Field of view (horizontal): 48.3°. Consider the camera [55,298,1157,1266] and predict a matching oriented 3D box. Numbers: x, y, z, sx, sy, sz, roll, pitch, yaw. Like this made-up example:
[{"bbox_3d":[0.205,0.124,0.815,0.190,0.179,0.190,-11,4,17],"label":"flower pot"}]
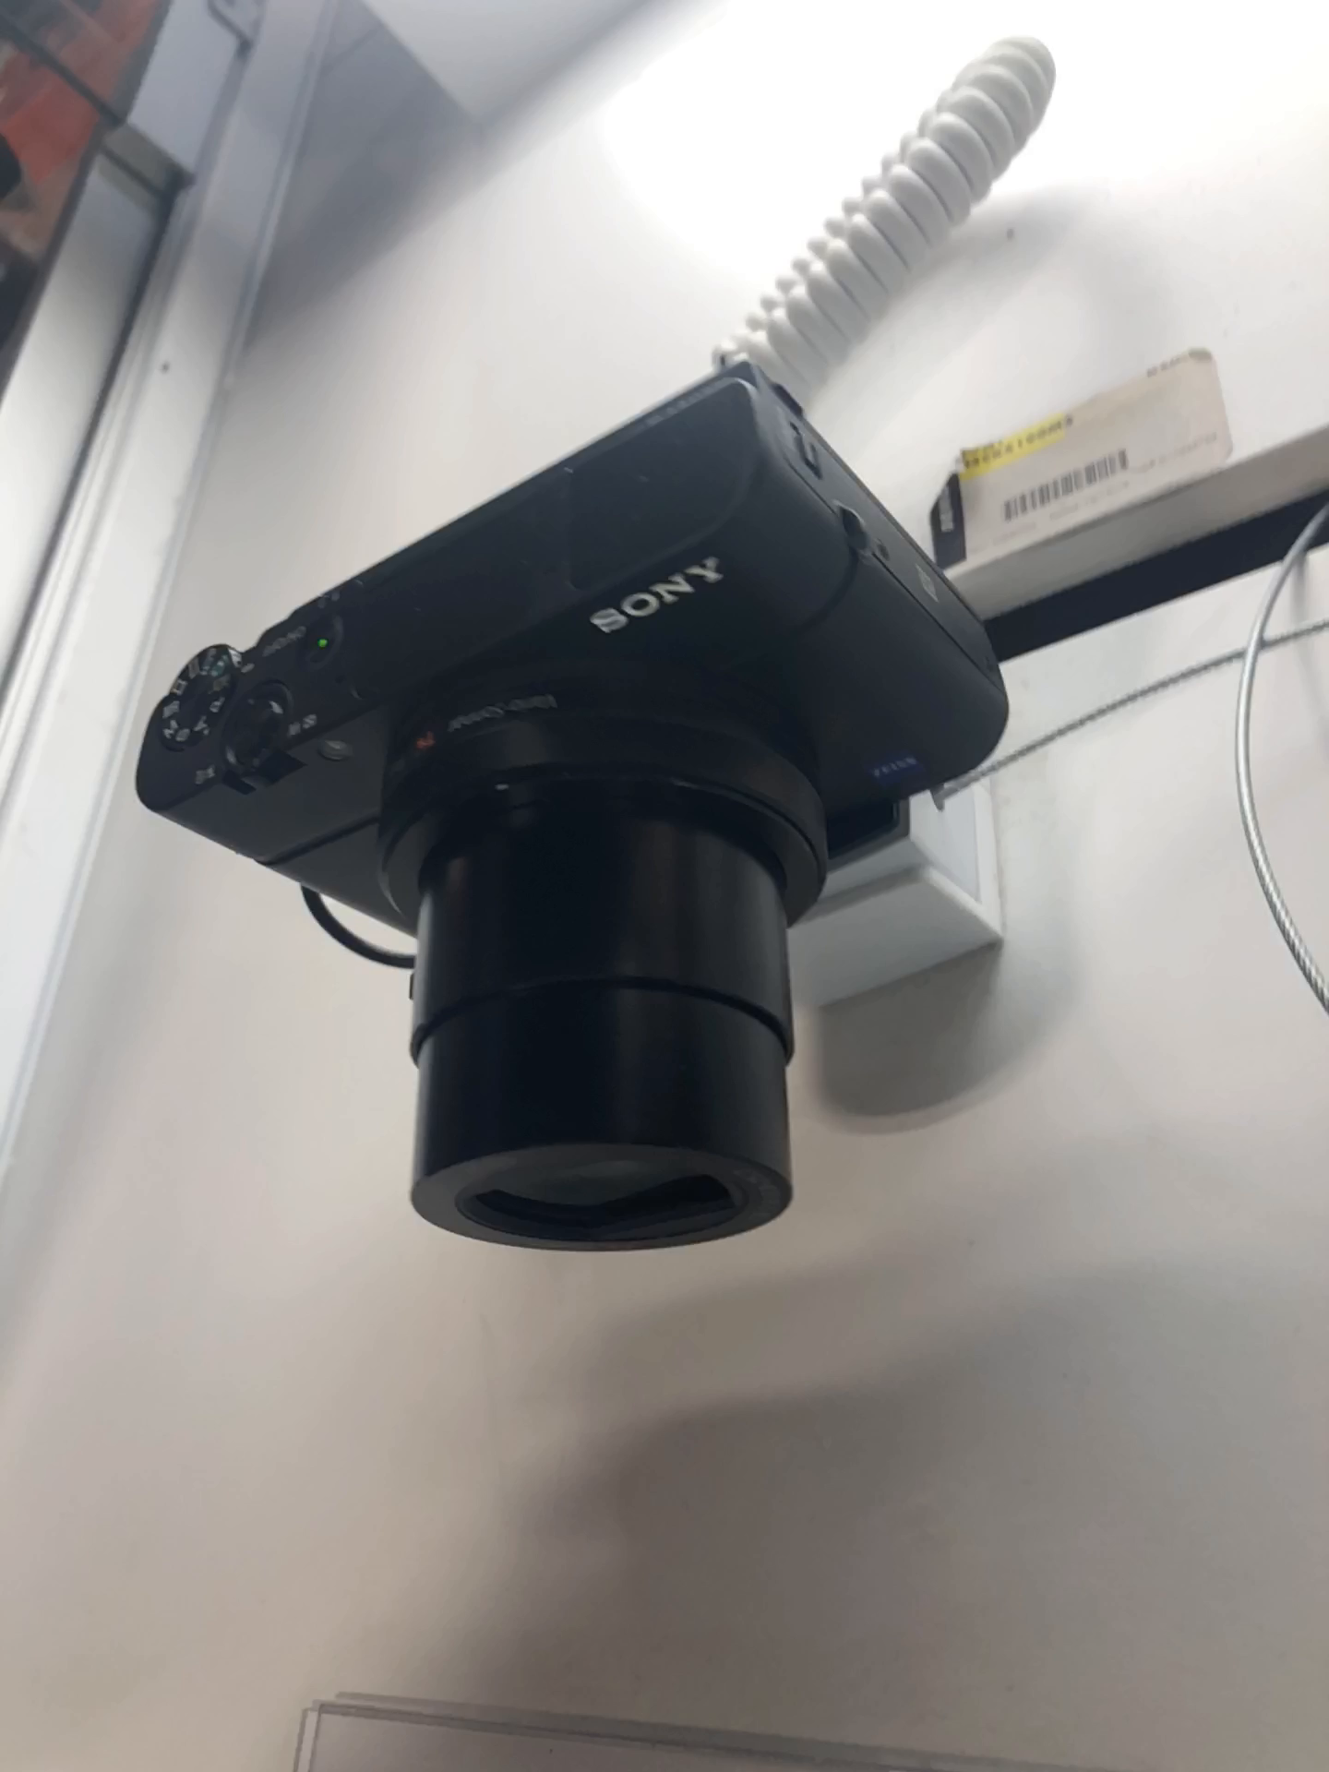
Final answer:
[{"bbox_3d":[-0.006,-0.001,0.188,0.105,0.074,0.070,-17,54,35],"label":"camera"}]
